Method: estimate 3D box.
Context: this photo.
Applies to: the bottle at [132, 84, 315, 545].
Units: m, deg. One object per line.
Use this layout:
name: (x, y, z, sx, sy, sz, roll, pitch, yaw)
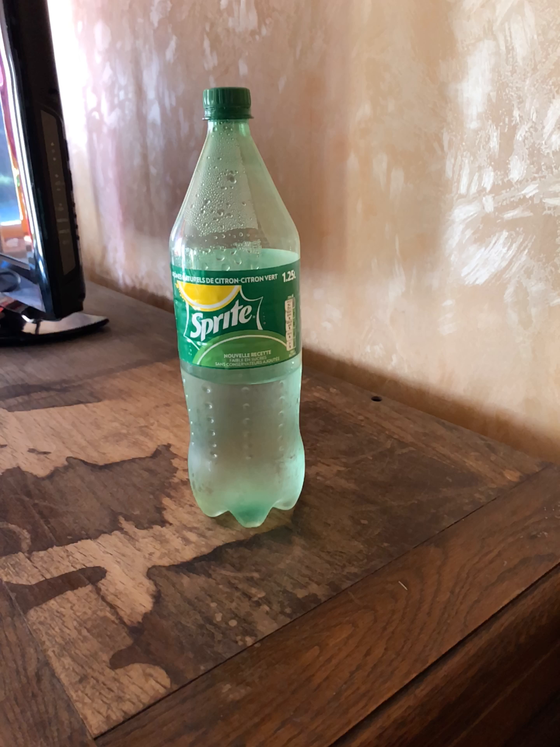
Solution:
bottle: (-0.026, -0.034, 0.410, 0.090, 0.279, 0.090, -1, 20, 0)
